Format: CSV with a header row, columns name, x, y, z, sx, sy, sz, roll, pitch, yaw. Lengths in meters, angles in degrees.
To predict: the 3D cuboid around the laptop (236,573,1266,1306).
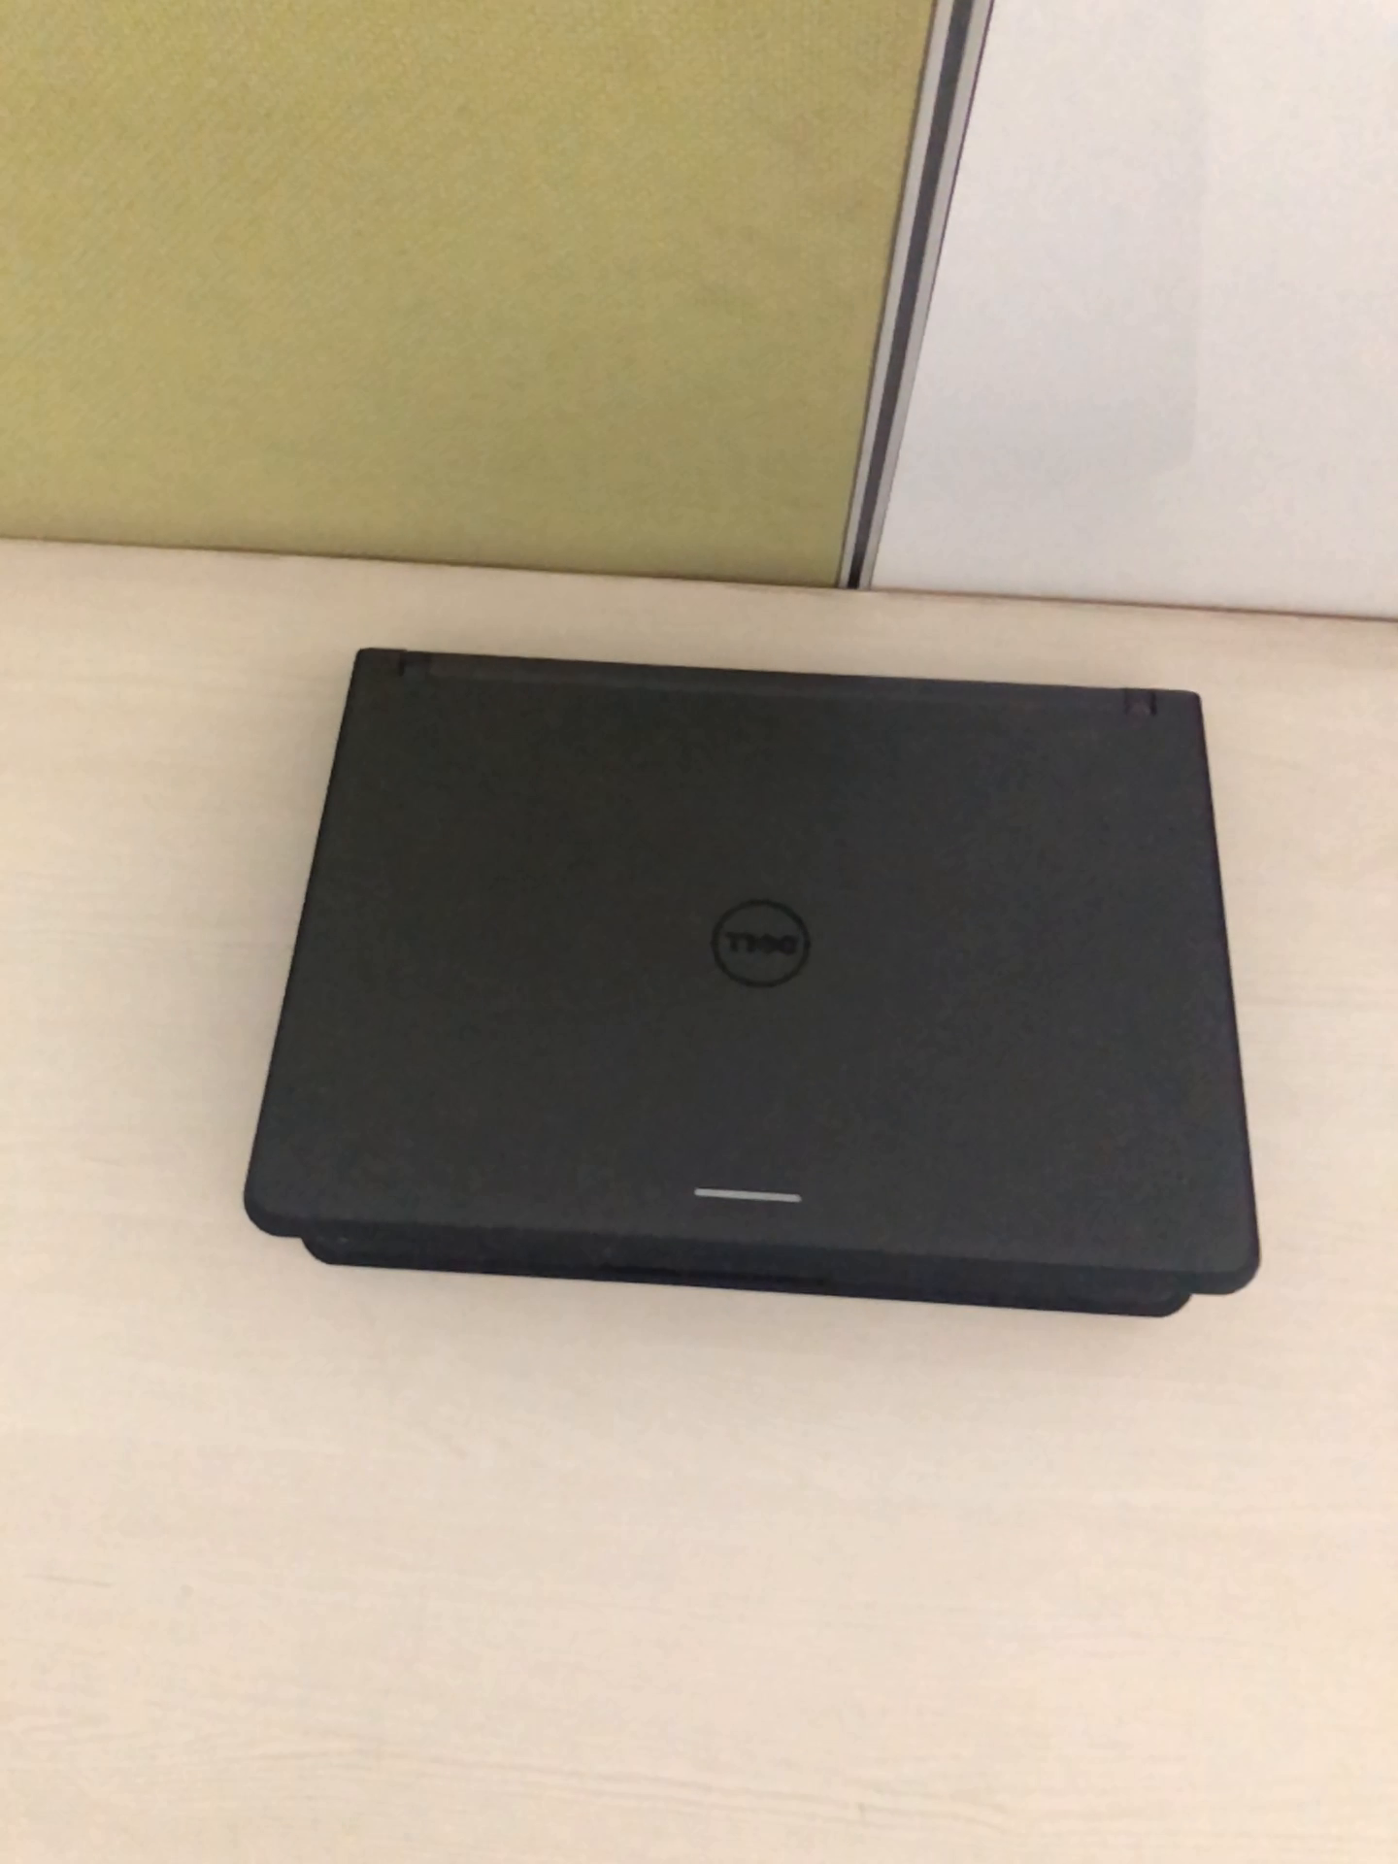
name,x,y,z,sx,sy,sz,roll,pitch,yaw
laptop,0.022,0.004,0.544,0.322,0.073,0.229,3,77,2
